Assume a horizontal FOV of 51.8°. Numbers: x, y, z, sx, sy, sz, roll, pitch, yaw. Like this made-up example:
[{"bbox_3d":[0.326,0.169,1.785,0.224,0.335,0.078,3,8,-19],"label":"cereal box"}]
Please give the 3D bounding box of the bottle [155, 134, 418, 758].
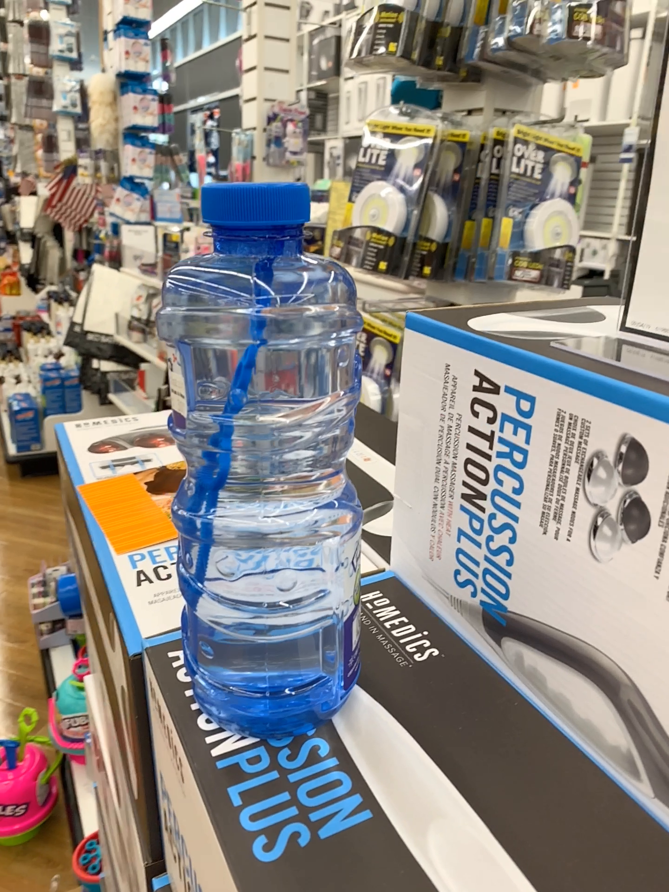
[{"bbox_3d":[-0.022,0.006,0.293,0.081,0.243,0.081,3,20,-1],"label":"bottle"}]
